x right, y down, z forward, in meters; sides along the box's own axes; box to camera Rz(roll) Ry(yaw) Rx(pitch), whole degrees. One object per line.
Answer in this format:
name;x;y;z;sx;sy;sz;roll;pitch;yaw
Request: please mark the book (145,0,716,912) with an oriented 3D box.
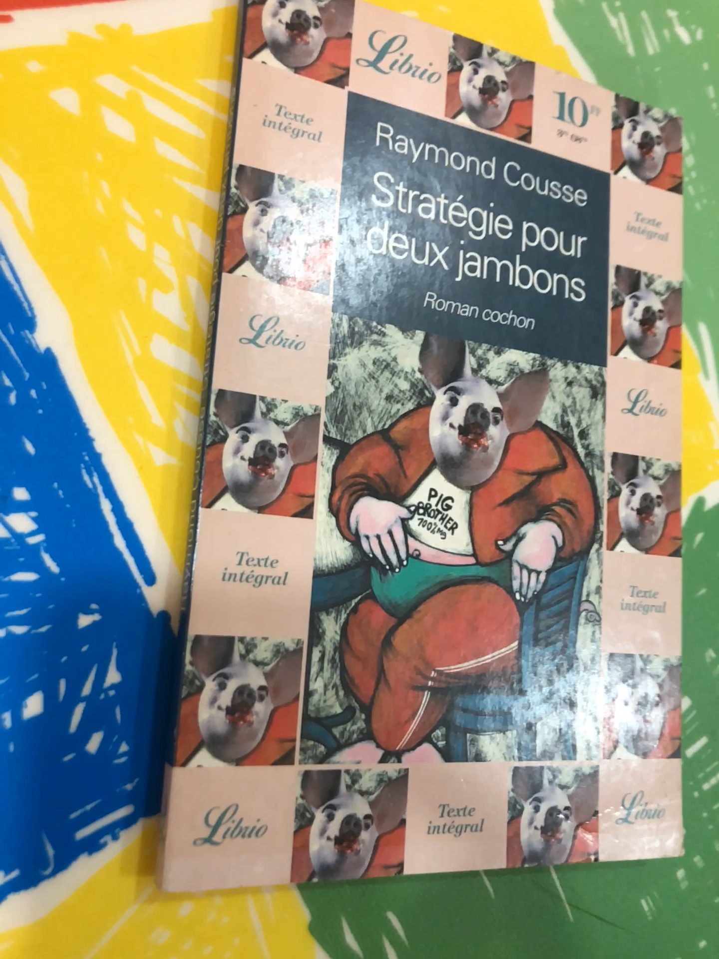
book;0.027;-0.012;0.188;0.130;0.014;0.197;7;81;-21
